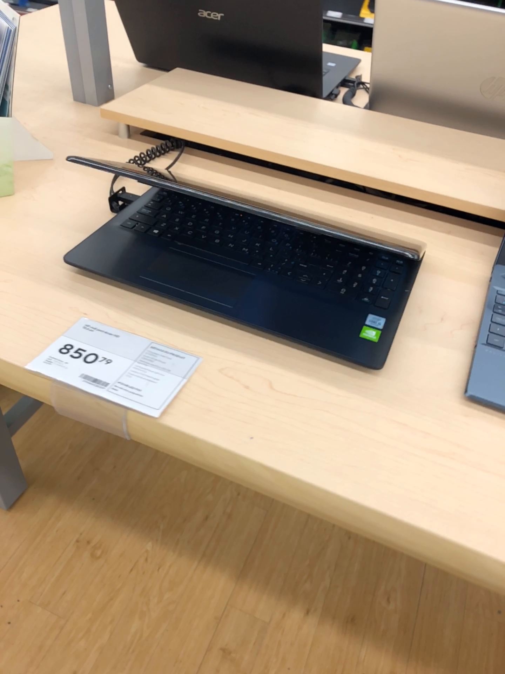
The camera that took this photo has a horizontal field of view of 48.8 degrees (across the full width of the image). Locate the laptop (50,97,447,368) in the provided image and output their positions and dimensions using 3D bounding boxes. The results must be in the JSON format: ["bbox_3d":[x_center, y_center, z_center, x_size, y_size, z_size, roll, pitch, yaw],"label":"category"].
[{"bbox_3d":[0.004,-0.144,0.636,0.371,0.115,0.240,19,43,16],"label":"laptop"}]
